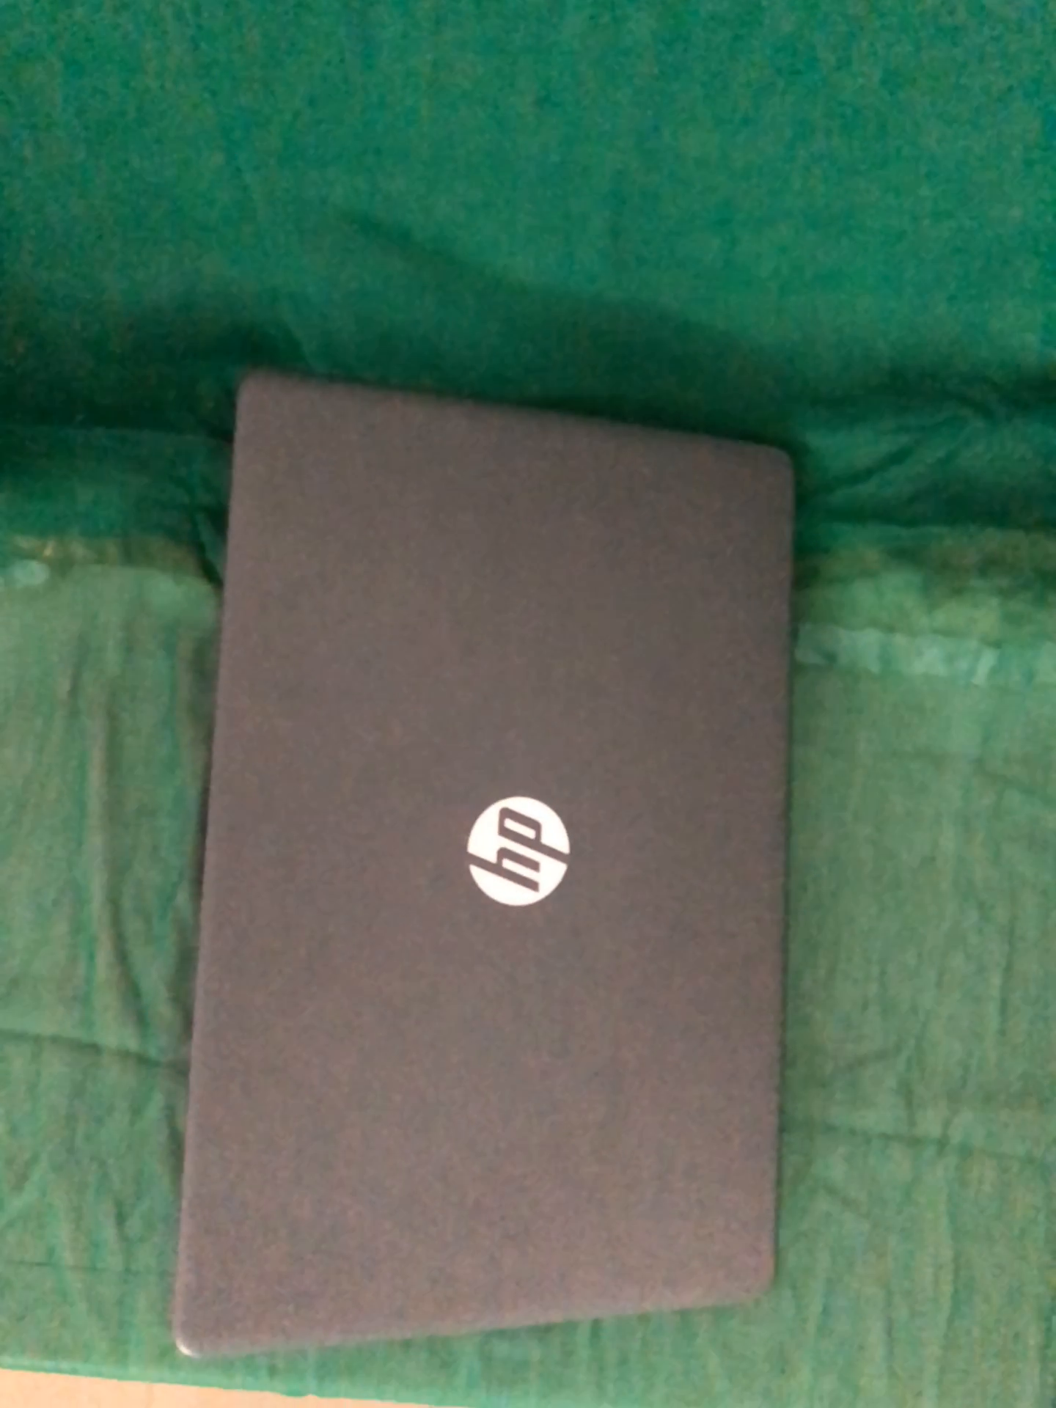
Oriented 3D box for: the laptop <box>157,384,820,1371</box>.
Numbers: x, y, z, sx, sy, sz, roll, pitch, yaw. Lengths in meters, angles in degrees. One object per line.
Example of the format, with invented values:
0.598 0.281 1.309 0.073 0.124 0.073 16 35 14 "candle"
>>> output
-0.011 0.063 0.480 0.231 0.067 0.359 4 84 -2 "laptop"
